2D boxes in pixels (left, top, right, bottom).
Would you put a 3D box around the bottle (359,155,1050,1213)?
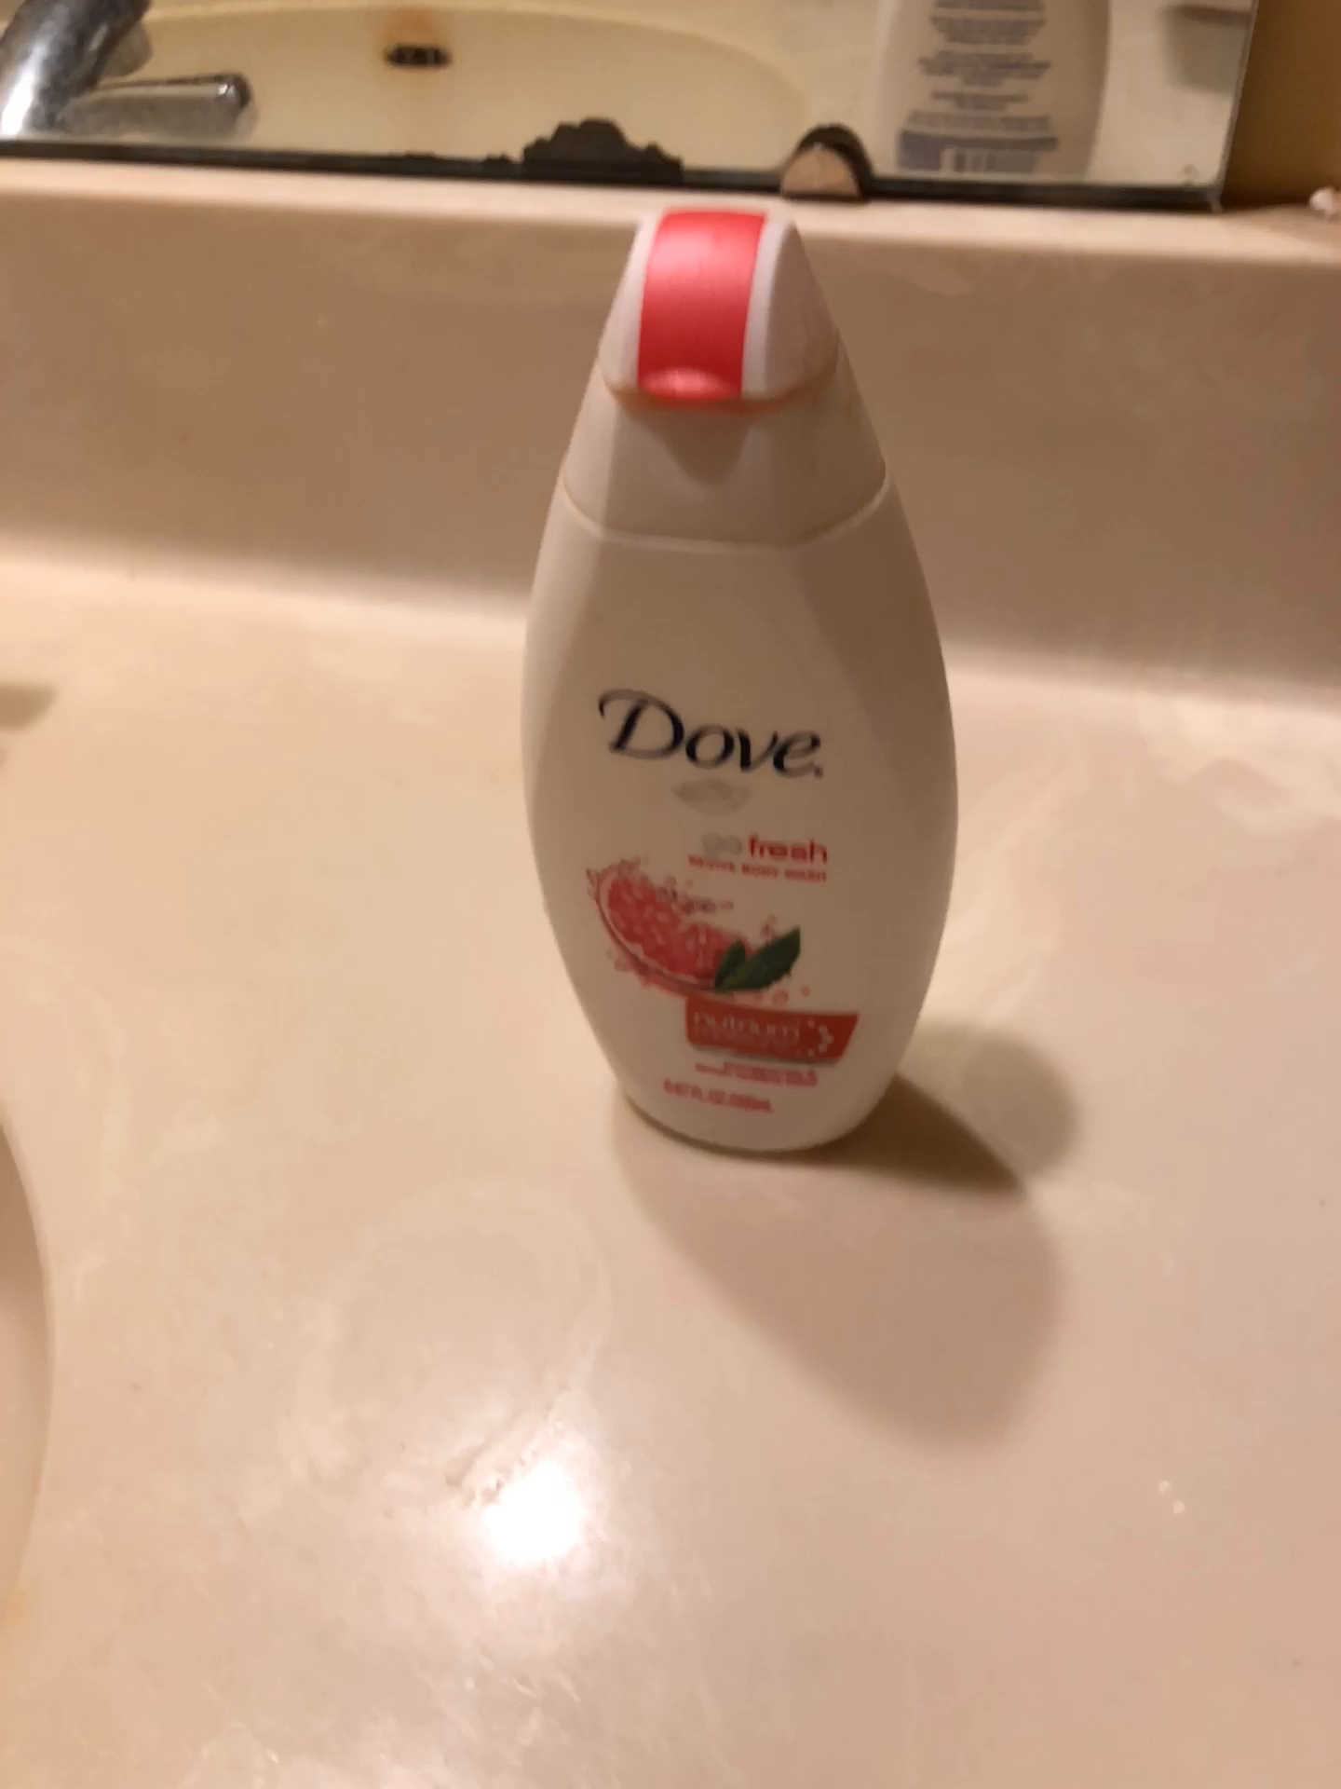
[{"bbox_3d":[0.010,-0.019,0.228,0.070,0.160,0.040,10,48,14],"label":"bottle"}]
